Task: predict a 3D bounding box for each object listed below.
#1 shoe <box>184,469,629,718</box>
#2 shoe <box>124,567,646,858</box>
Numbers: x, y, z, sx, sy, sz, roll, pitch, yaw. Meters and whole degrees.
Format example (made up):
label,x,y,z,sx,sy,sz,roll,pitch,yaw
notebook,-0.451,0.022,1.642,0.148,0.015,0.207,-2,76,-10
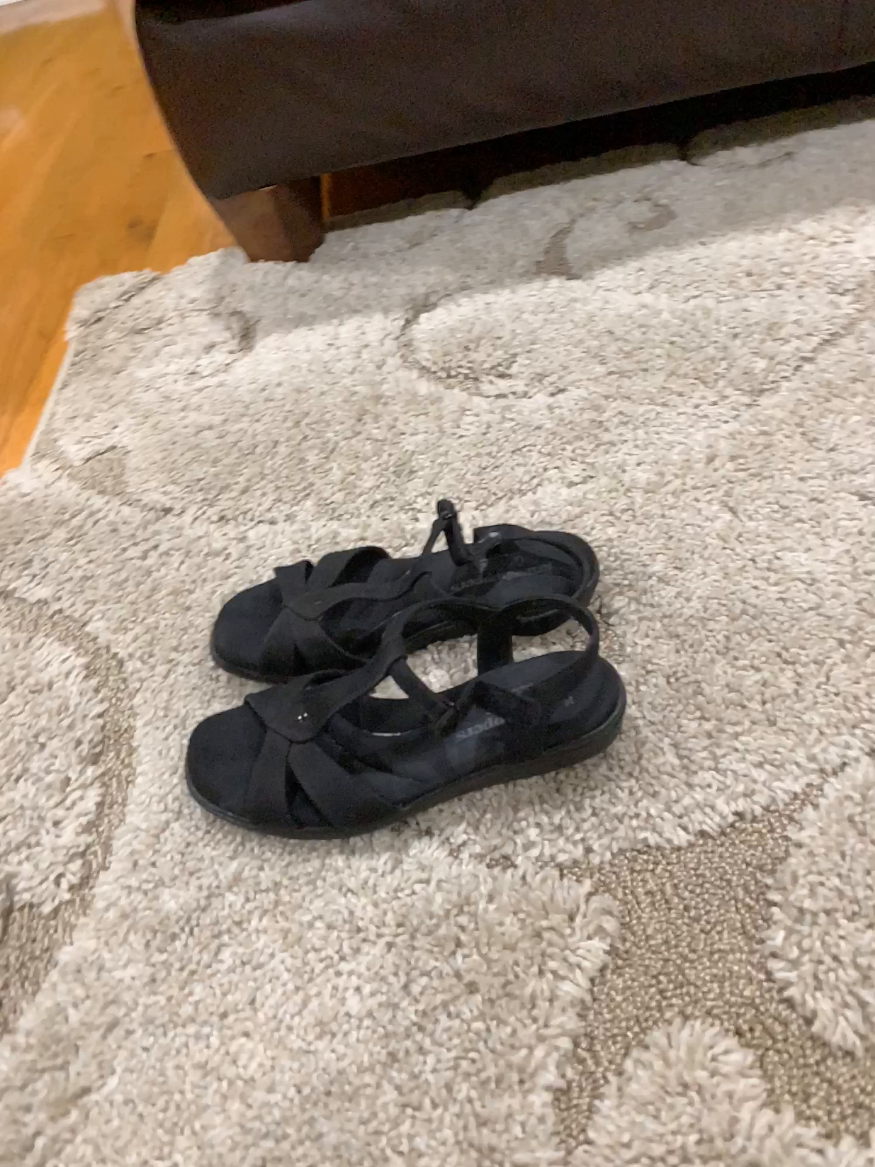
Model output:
label,x,y,z,sx,sy,sz,roll,pitch,yaw
shoe,-0.017,0.006,0.533,0.241,0.059,0.101,-9,44,6
shoe,-0.025,0.066,0.461,0.241,0.059,0.101,-9,44,6
